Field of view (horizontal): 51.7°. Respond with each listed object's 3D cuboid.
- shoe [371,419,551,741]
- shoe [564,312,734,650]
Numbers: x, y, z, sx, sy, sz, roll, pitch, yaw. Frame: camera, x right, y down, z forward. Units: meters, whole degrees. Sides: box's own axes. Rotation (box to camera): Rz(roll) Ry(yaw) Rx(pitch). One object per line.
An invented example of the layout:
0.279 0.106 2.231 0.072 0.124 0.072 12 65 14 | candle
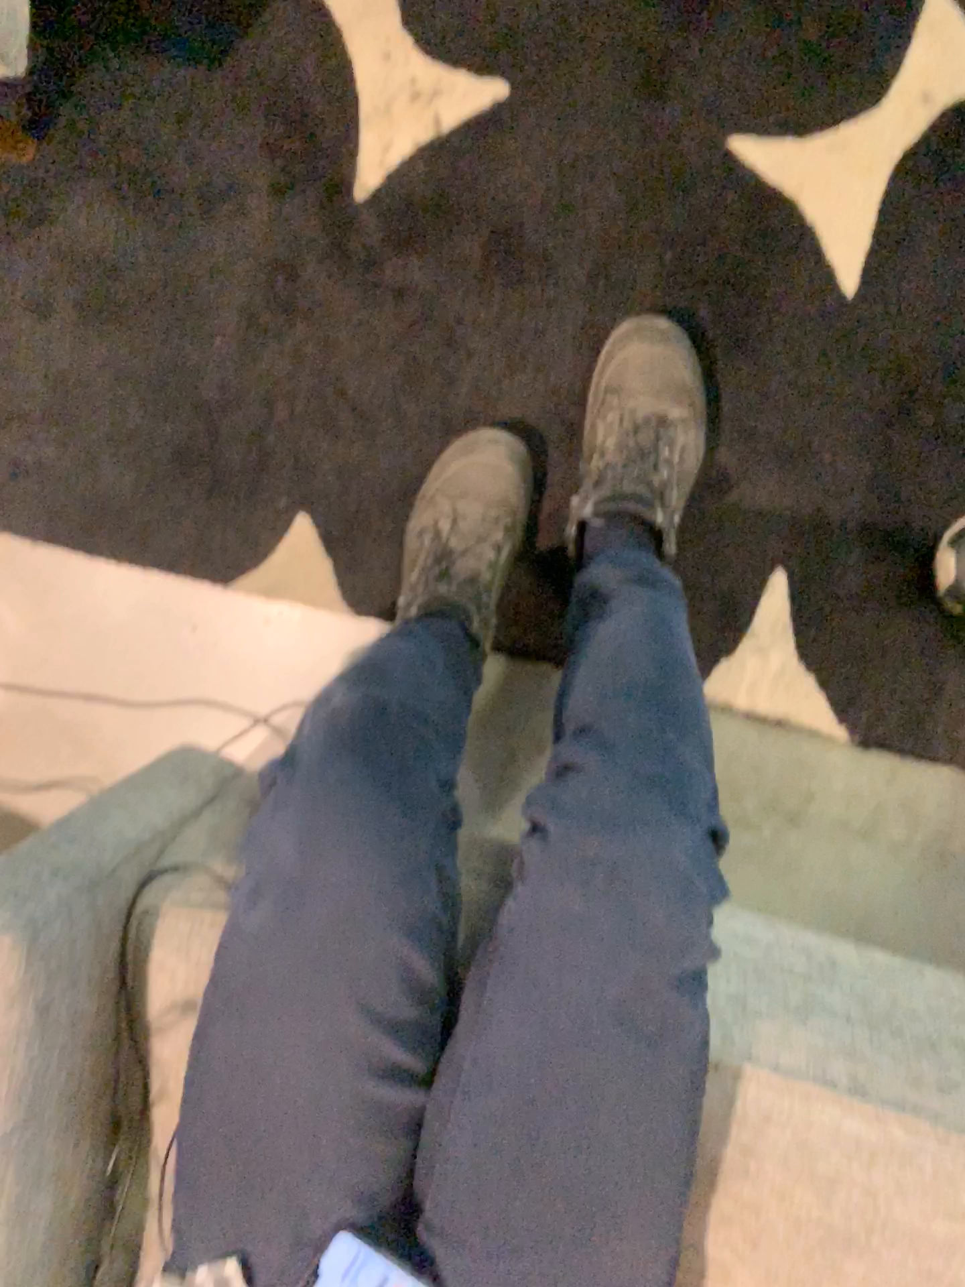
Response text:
-0.021 -0.063 0.964 0.119 0.077 0.285 11 103 5 | shoe
0.149 -0.147 0.916 0.121 0.077 0.288 5 103 7 | shoe
